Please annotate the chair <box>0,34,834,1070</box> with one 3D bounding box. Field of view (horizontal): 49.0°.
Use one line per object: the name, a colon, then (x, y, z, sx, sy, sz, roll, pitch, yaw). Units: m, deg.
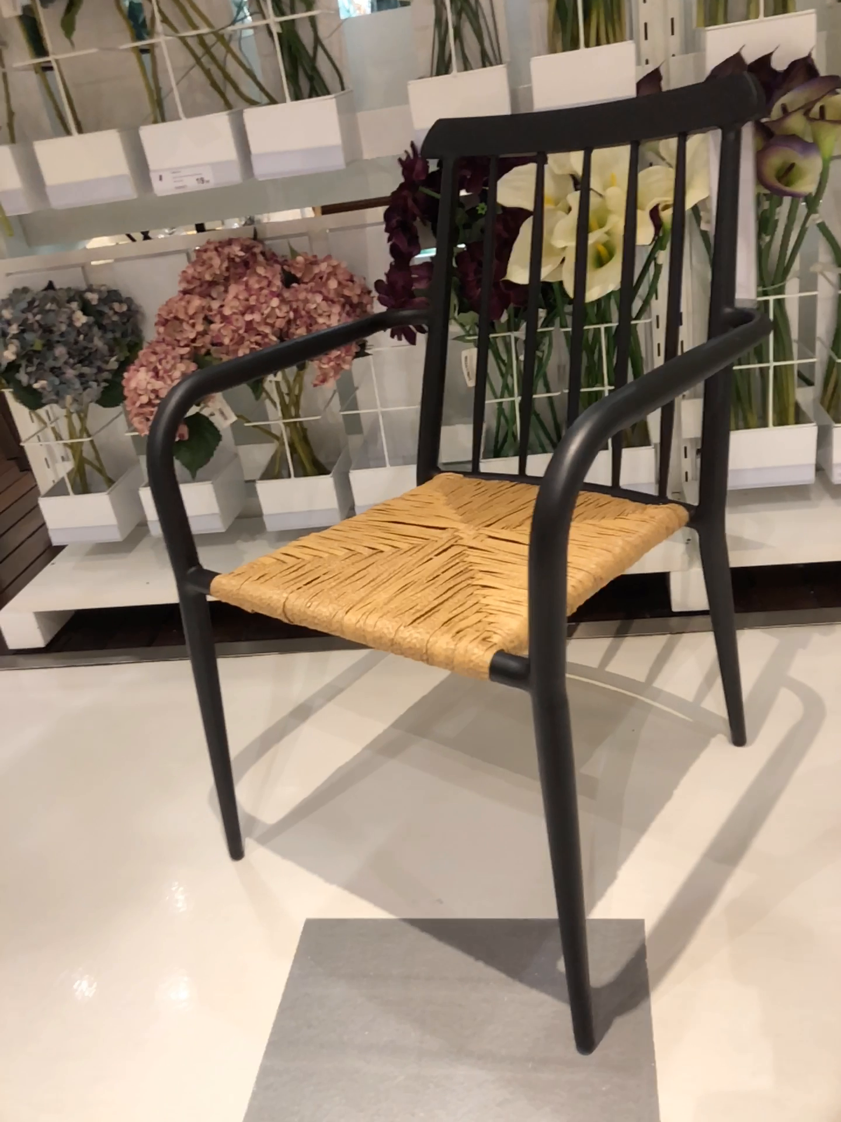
chair: (0.054, -0.069, 0.991, 0.542, 0.754, 0.583, 12, 34, 38)
